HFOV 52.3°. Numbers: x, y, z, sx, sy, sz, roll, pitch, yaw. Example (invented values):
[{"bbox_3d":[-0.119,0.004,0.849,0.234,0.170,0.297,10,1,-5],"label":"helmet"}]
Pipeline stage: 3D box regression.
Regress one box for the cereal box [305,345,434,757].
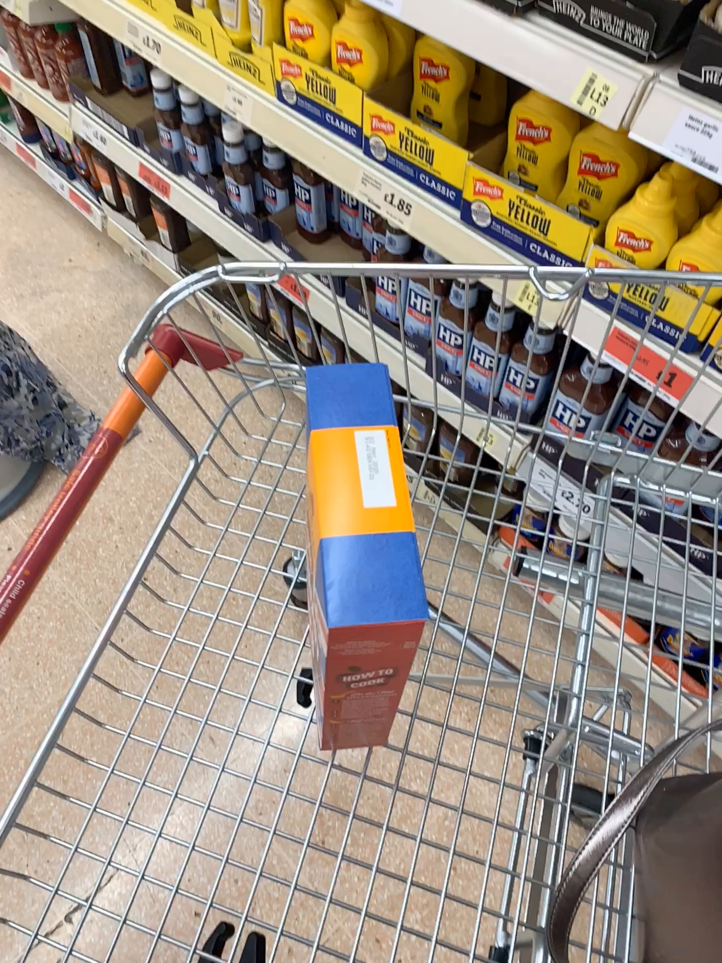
[{"bbox_3d":[-0.007,0.063,0.509,0.050,0.258,0.181,-3,57,-6],"label":"cereal box"}]
